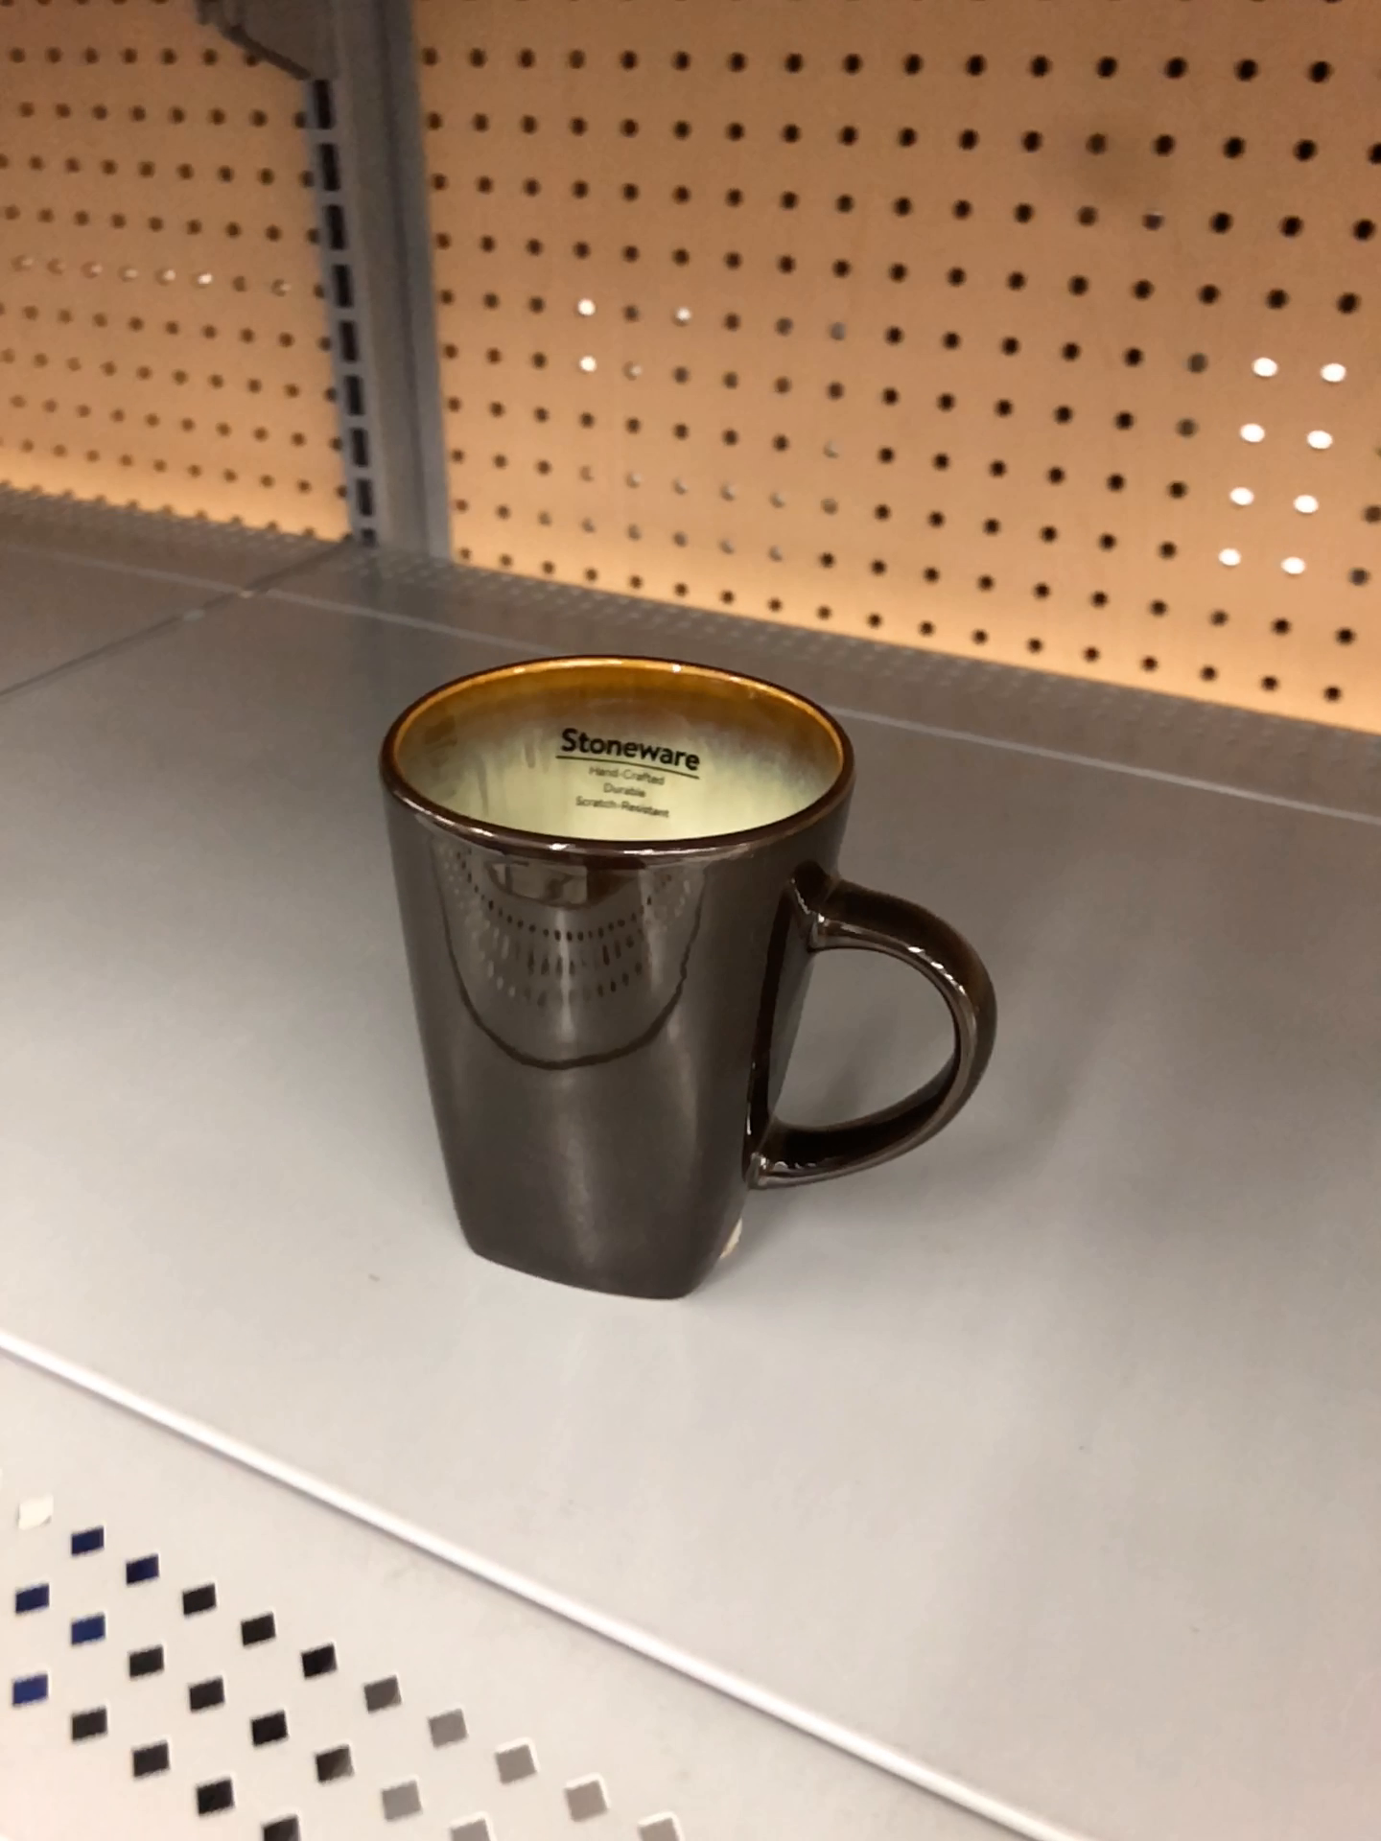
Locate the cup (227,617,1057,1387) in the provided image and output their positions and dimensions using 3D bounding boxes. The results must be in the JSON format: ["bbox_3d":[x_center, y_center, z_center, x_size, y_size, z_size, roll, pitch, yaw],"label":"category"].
[{"bbox_3d":[-0.006,0.009,0.319,0.136,0.099,0.095,11,31,13],"label":"cup"}]
